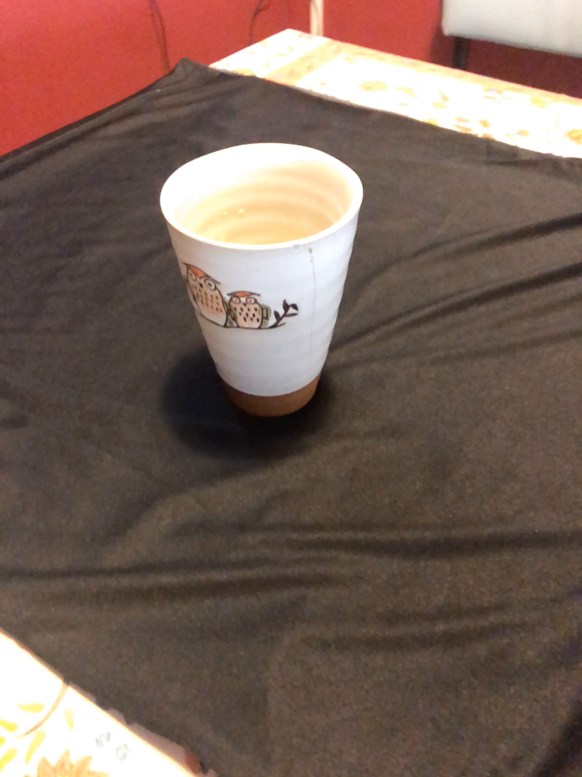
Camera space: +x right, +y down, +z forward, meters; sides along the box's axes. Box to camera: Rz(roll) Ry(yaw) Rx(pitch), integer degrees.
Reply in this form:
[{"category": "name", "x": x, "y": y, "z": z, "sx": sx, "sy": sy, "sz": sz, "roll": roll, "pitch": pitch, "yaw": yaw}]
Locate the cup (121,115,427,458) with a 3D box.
[{"category": "cup", "x": -0.006, "y": -0.047, "z": 0.289, "sx": 0.090, "sy": 0.099, "sz": 0.080, "roll": -29, "pitch": 51, "yaw": -25}]
